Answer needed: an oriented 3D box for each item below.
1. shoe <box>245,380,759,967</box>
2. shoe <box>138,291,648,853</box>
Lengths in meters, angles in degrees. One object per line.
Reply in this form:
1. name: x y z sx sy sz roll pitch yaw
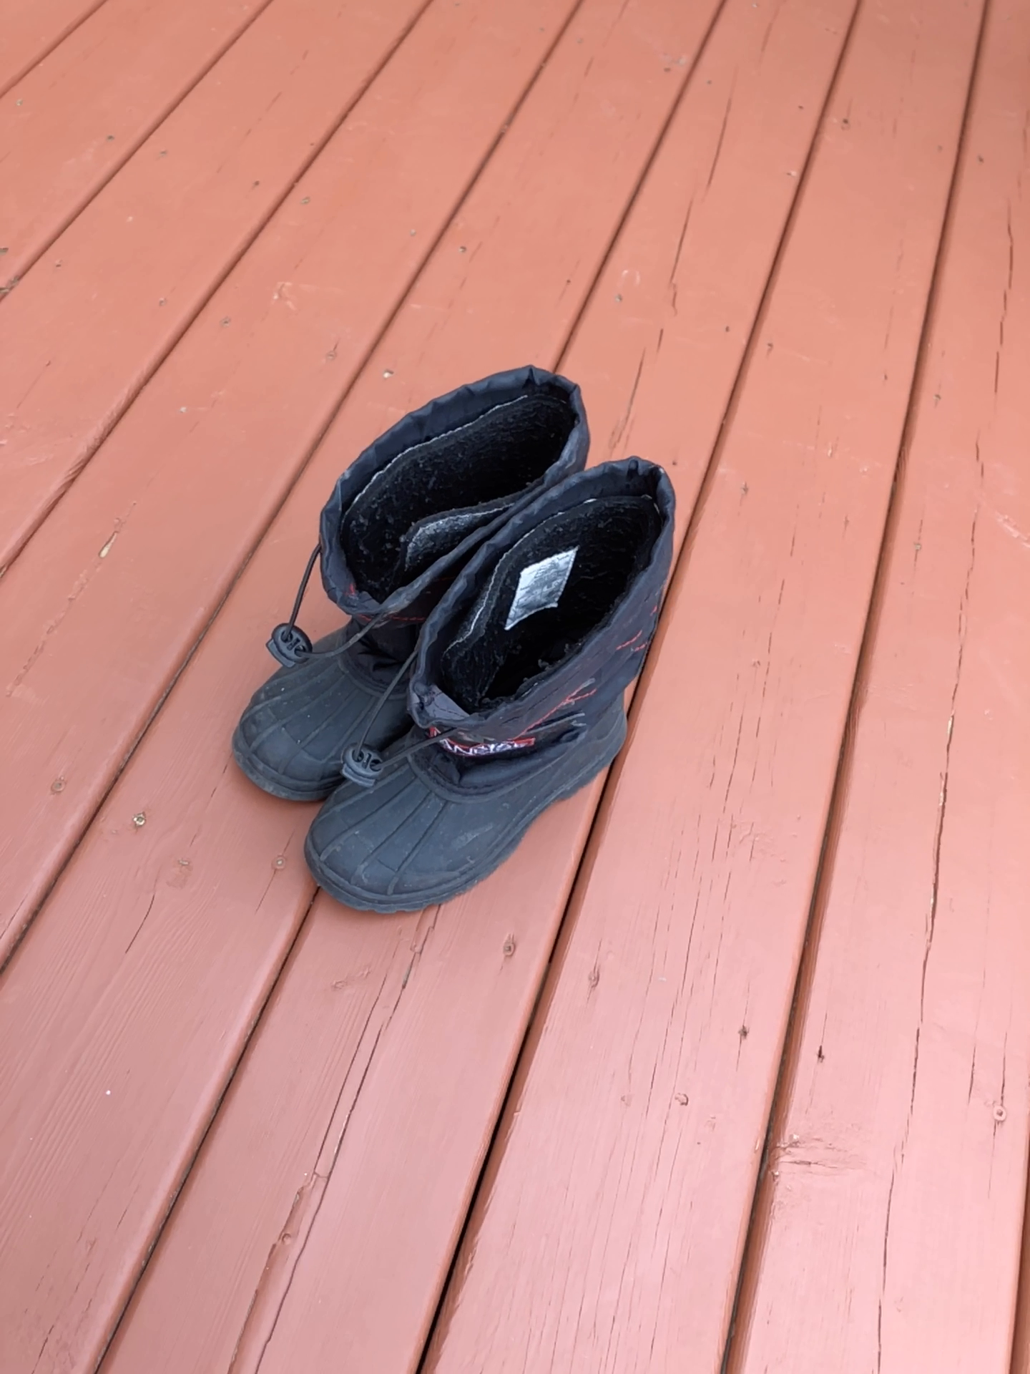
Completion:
1. shoe: -0.011 0.002 0.585 0.210 0.230 0.100 -37 69 -26
2. shoe: -0.062 -0.053 0.610 0.210 0.230 0.100 -32 67 -24
